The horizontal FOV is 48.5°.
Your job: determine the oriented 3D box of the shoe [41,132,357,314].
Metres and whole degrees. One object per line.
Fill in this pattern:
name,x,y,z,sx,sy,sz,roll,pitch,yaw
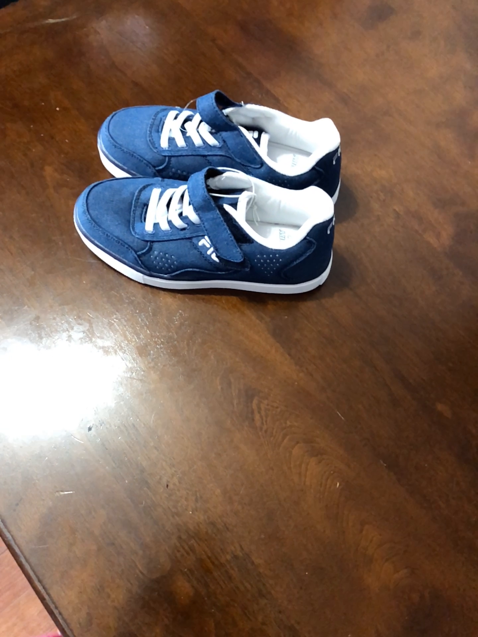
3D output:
shoe,-0.028,-0.080,0.460,0.240,0.080,0.100,7,67,0

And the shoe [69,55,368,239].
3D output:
shoe,-0.016,-0.155,0.487,0.240,0.080,0.090,11,67,2
